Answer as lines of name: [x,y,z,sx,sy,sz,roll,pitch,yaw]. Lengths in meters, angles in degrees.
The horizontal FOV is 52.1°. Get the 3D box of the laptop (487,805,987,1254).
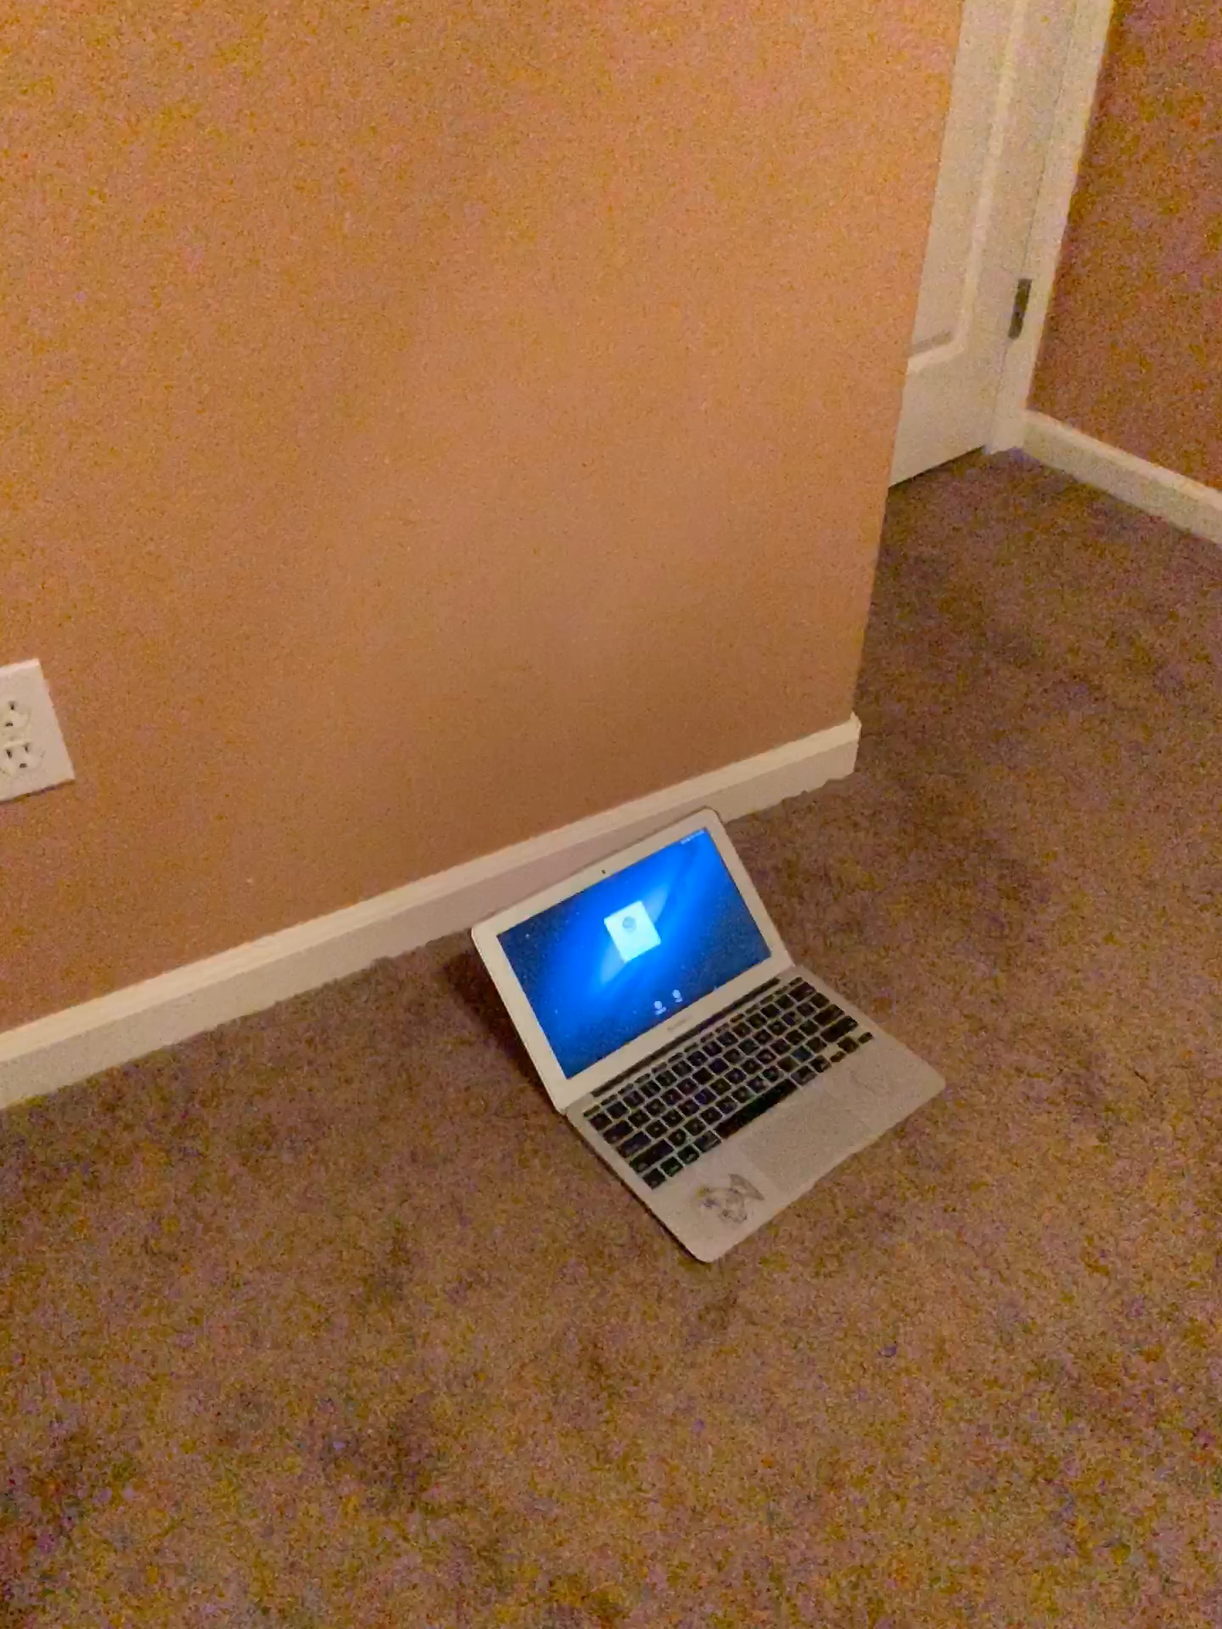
laptop: [0.105,0.168,1.129,0.299,0.116,0.325,-25,44,-31]
